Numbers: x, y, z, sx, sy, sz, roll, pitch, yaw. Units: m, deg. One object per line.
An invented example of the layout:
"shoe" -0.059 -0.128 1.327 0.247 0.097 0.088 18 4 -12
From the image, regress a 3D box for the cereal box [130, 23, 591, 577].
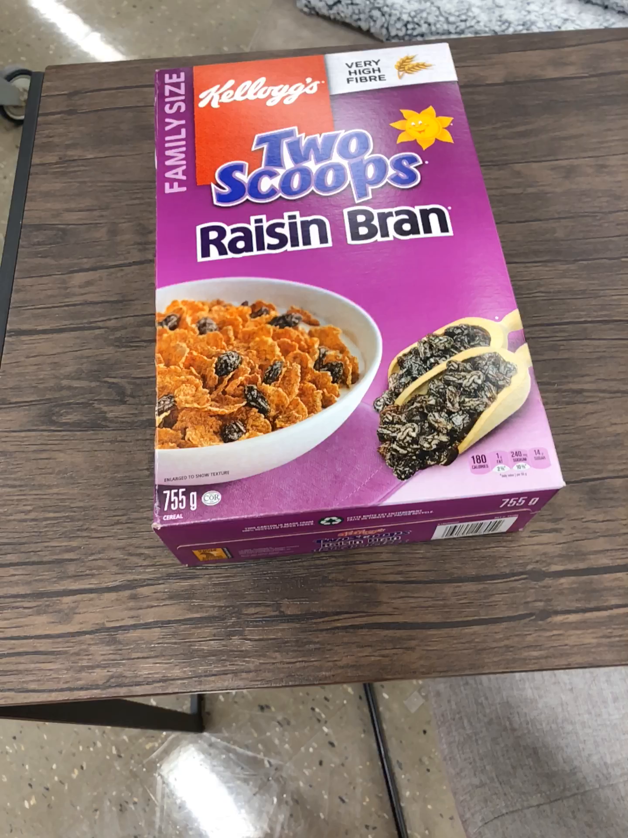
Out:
"cereal box" 0.007 -0.084 0.419 0.210 0.080 0.320 -6 65 -1
